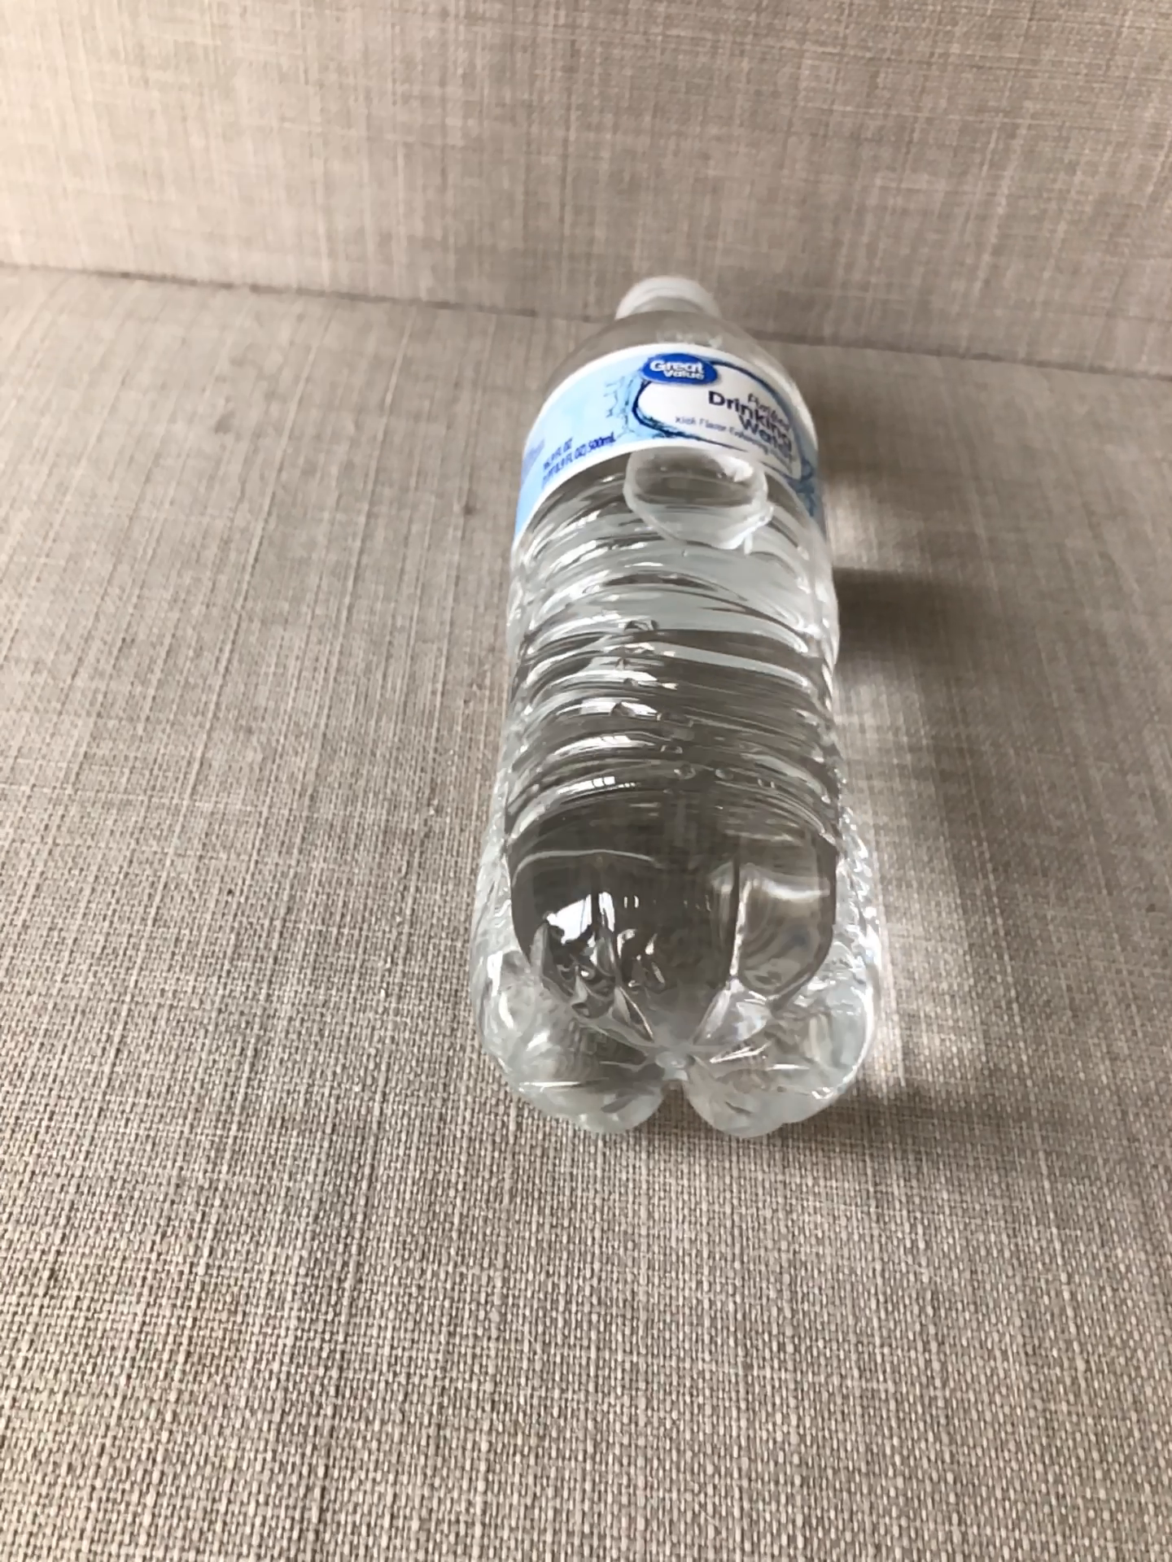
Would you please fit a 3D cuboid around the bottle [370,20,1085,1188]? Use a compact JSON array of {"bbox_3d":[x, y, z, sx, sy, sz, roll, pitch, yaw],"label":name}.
[{"bbox_3d":[0.020,-0.050,0.267,0.070,0.079,0.232,26,45,-27],"label":"bottle"}]
